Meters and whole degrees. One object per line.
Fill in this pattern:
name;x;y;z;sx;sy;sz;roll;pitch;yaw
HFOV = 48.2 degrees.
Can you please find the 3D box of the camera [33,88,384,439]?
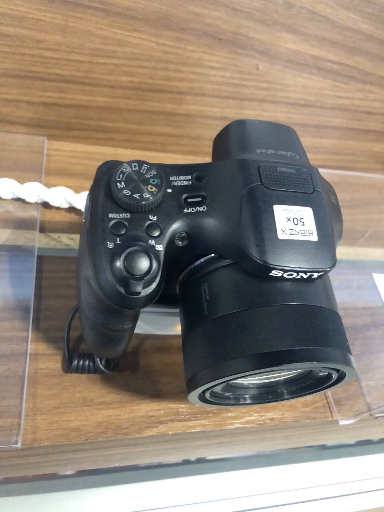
camera;0.002;0.005;0.188;0.125;0.084;0.110;3;50;-17
